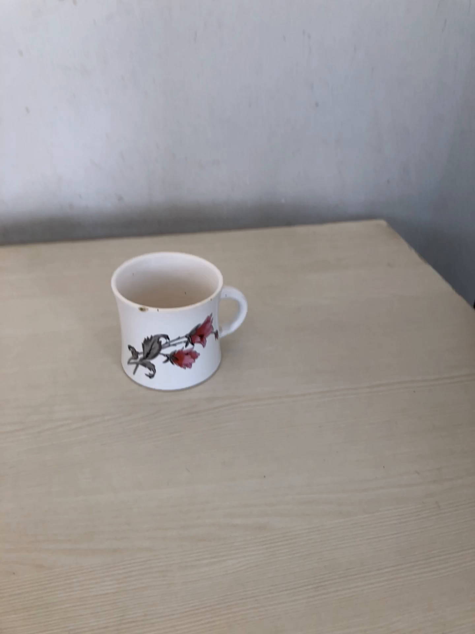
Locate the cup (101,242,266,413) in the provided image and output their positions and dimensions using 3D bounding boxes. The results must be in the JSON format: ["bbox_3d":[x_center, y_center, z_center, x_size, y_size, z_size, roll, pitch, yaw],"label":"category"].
[{"bbox_3d":[-0.038,0.003,0.355,0.090,0.070,0.080,-8,36,-14],"label":"cup"}]
